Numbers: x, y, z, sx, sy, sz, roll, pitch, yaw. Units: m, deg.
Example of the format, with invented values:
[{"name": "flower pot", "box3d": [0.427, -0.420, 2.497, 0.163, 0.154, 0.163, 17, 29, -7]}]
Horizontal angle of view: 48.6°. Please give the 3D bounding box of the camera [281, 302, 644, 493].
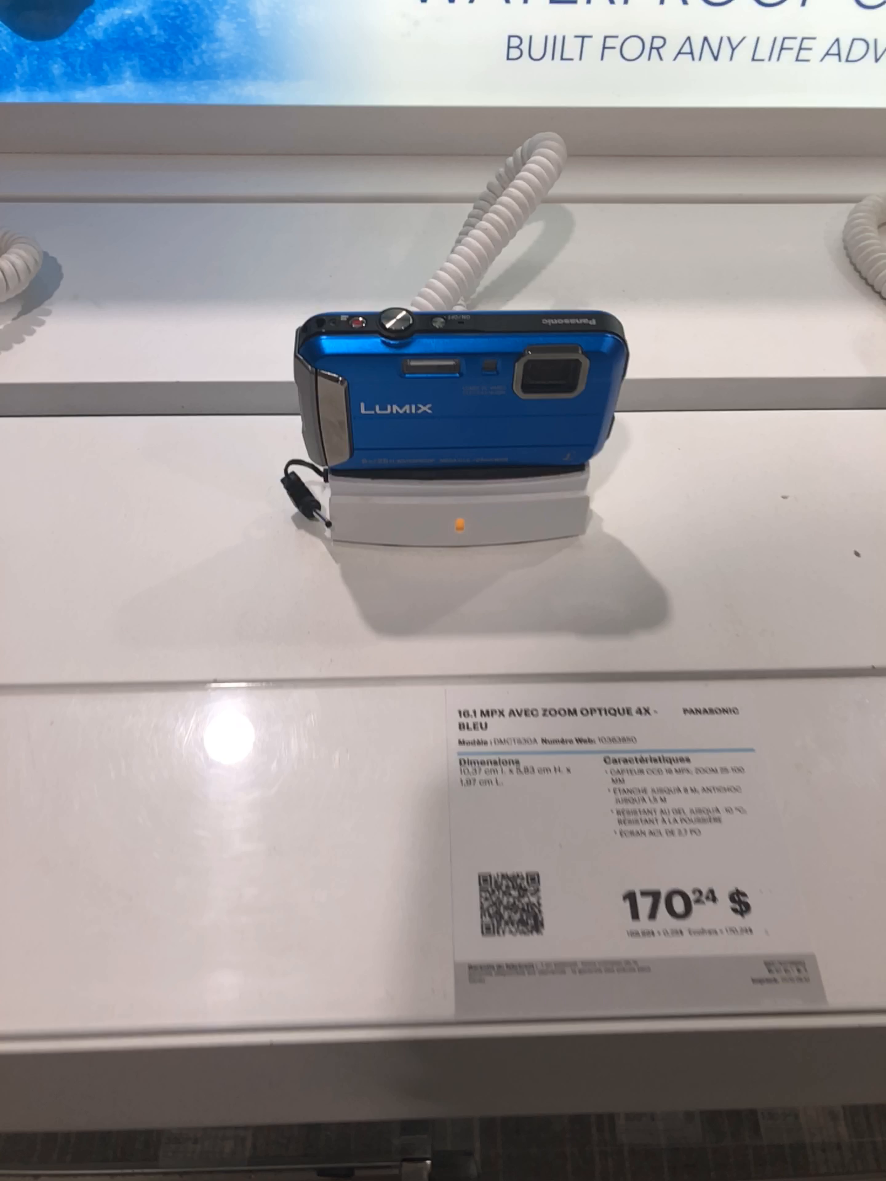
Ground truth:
[{"name": "camera", "box3d": [0.005, -0.061, 0.316, 0.106, 0.060, 0.020, -2, 53, -3]}]
